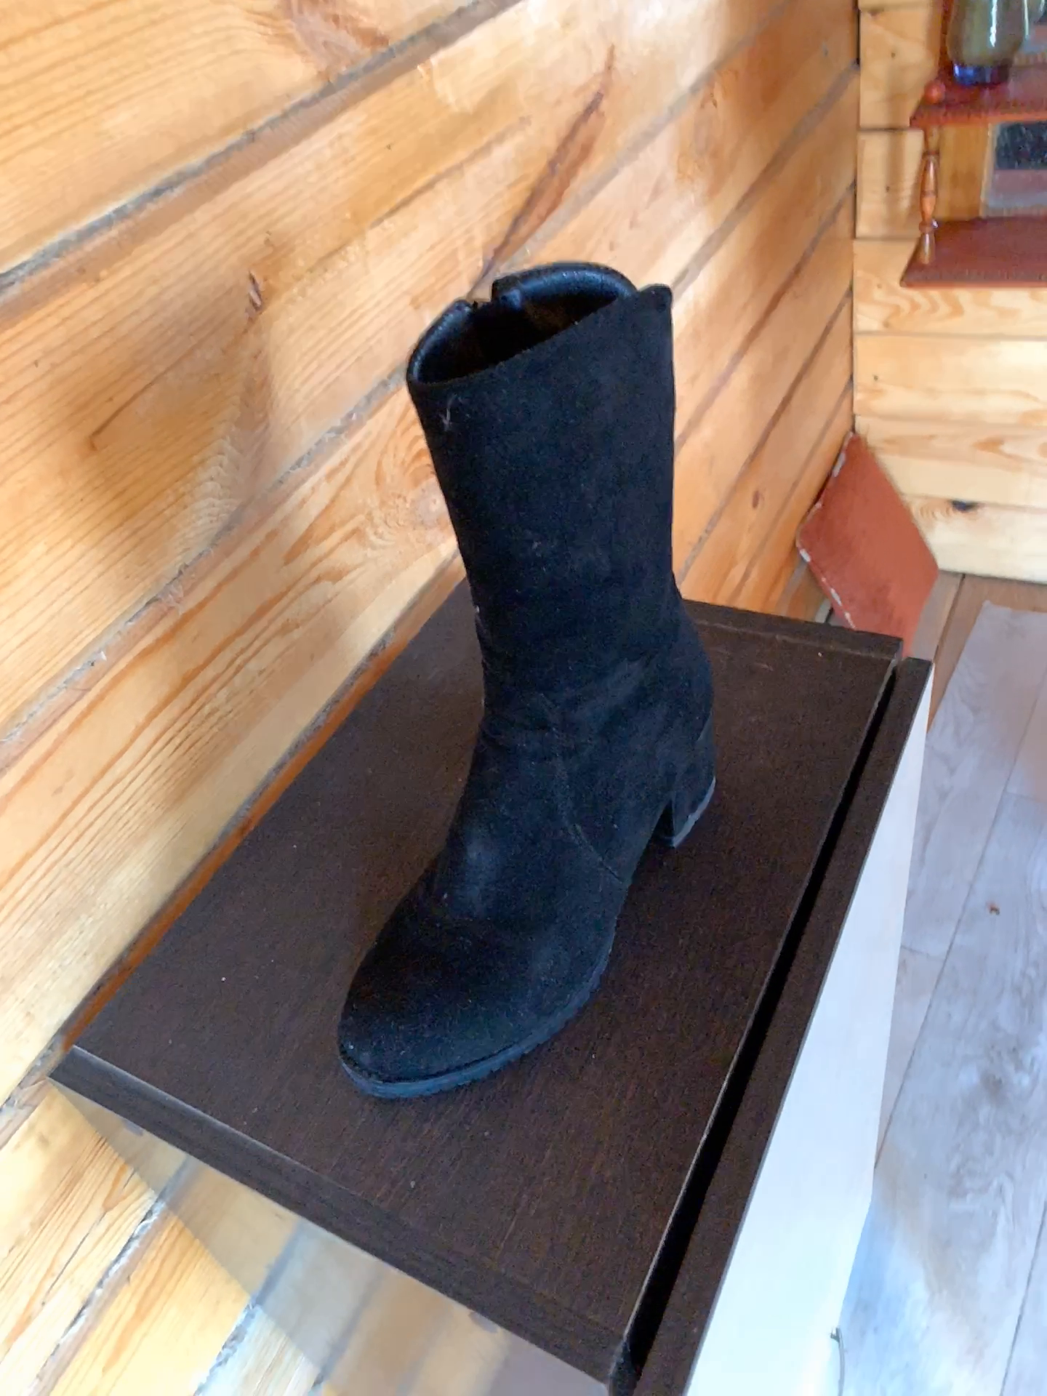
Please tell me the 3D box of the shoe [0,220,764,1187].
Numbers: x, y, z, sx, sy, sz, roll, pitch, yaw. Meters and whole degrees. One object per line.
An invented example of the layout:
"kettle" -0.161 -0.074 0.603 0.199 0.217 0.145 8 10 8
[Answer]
"shoe" -0.009 0.001 0.409 0.100 0.267 0.233 18 50 31
